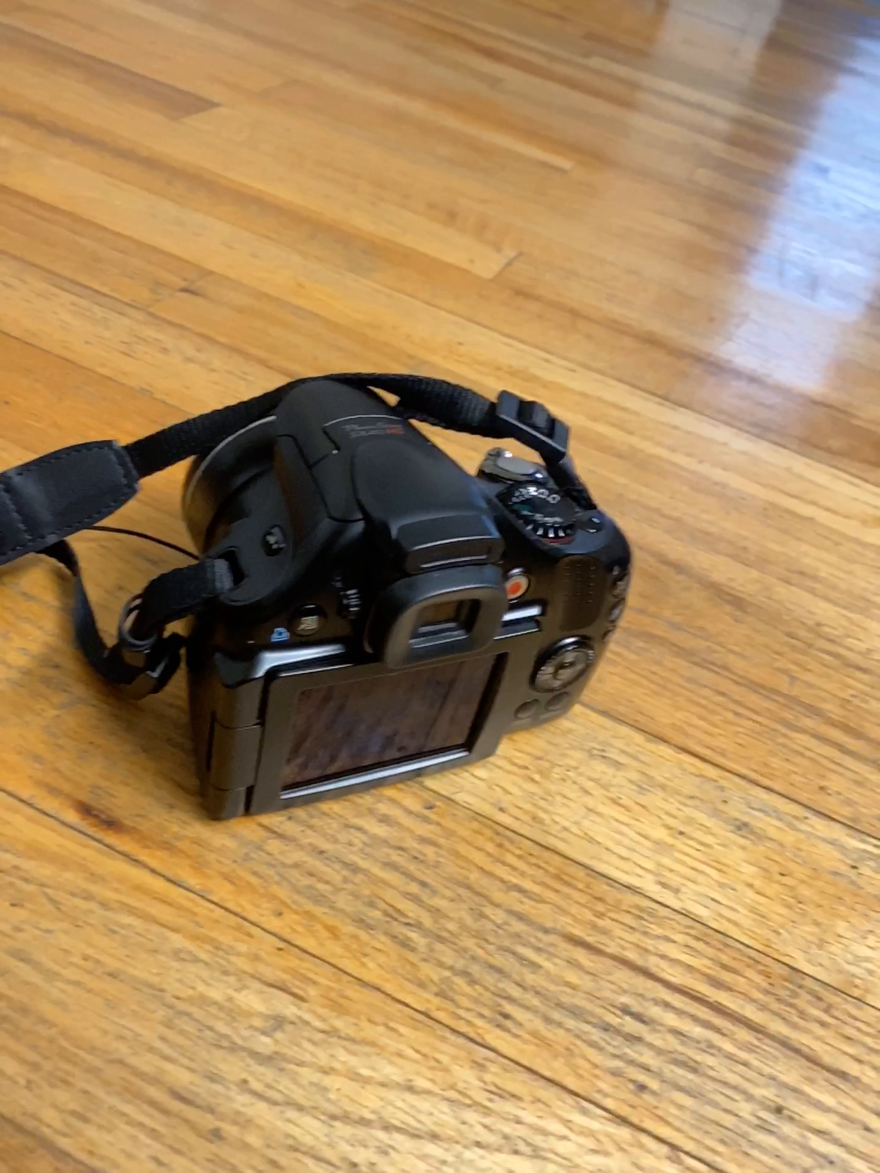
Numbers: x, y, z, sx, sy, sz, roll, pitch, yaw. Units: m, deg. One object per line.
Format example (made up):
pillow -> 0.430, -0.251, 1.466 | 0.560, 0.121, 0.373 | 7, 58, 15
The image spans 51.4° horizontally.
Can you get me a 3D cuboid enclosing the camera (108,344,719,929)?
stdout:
camera -> -0.021, 0.003, 0.257 | 0.120, 0.089, 0.121 | -7, 46, -26
